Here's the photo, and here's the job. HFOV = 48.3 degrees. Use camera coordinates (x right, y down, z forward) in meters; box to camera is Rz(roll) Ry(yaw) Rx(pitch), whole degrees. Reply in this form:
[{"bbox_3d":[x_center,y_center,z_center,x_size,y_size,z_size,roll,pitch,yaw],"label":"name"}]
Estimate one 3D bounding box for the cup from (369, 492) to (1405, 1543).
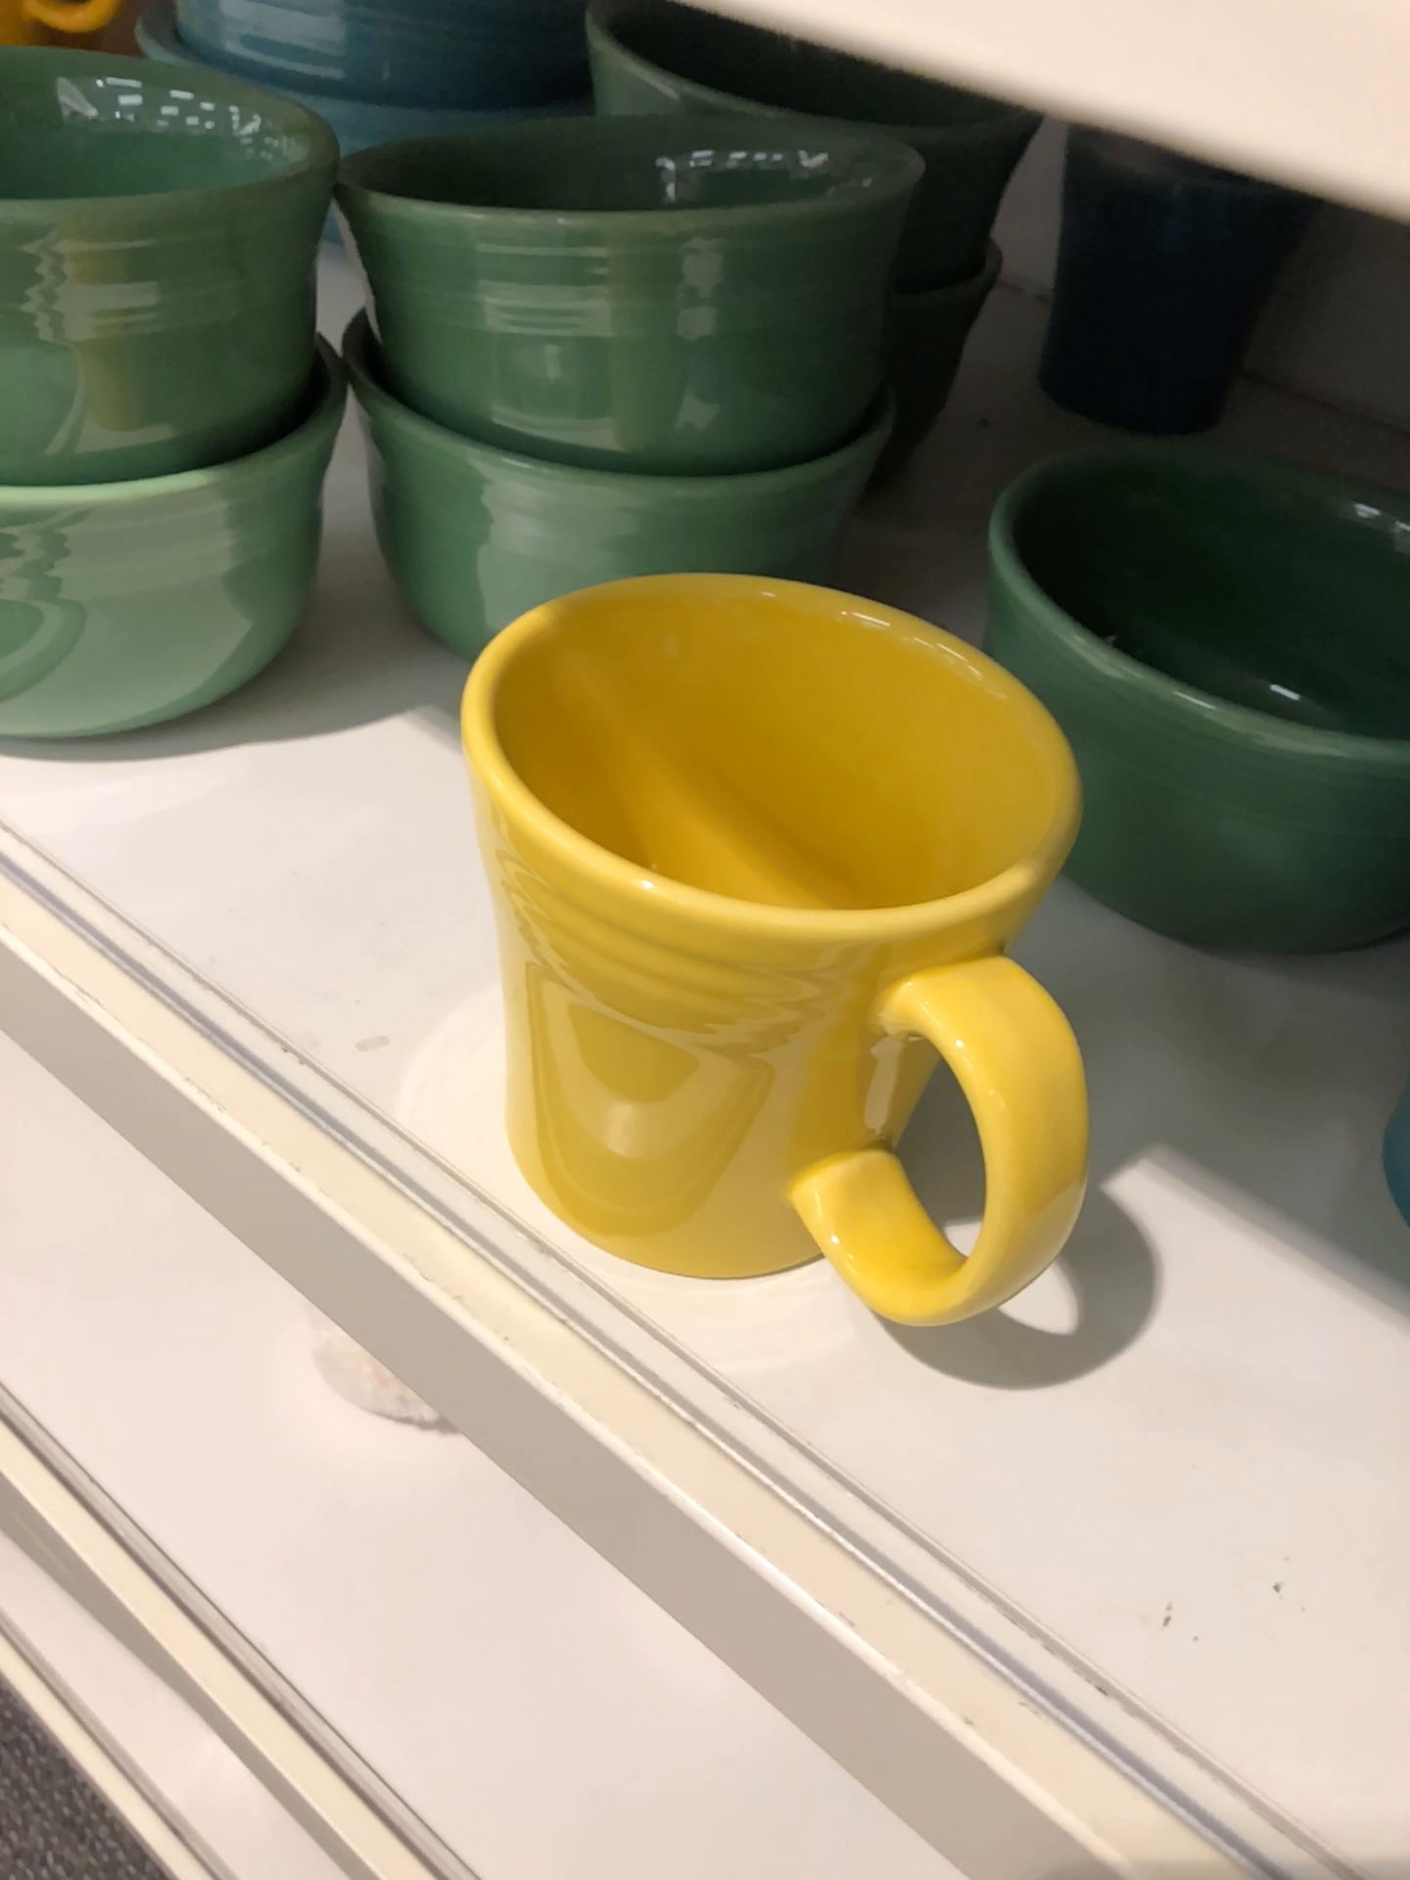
[{"bbox_3d":[0.022,0.005,0.284,0.097,0.100,0.138,-30,54,-35],"label":"cup"}]
